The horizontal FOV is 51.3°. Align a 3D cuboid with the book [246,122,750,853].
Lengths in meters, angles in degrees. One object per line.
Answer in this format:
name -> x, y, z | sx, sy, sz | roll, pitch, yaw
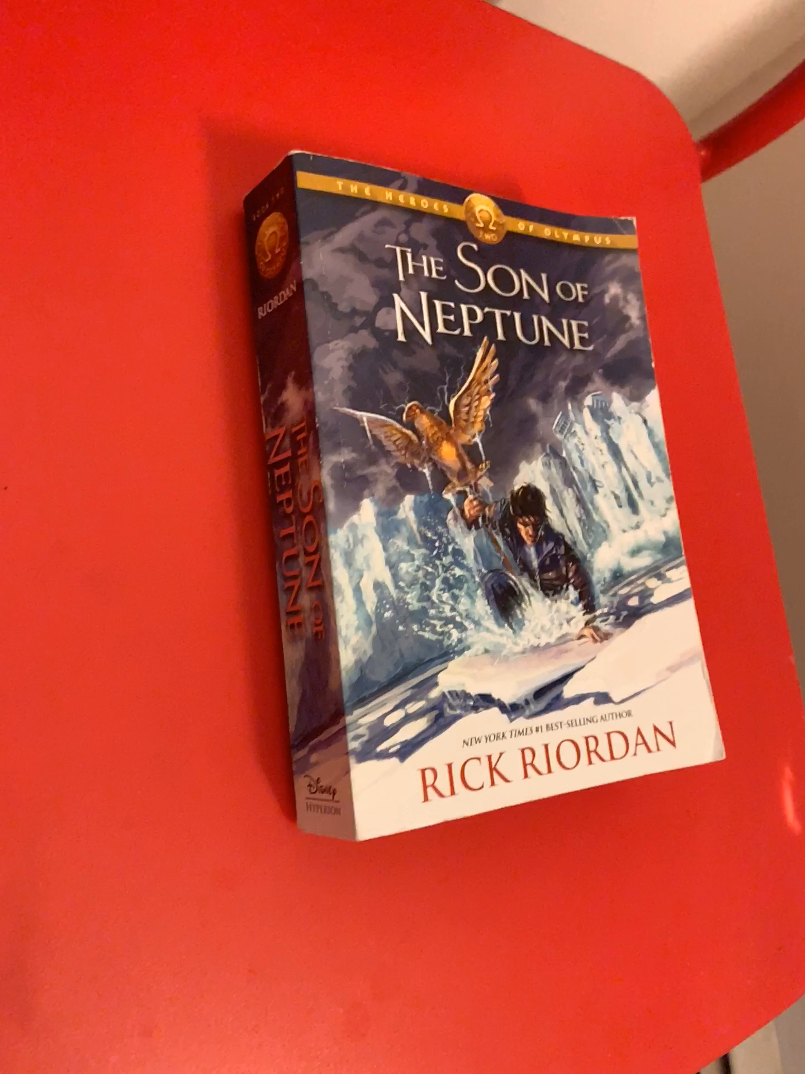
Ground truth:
book -> 0.032, -0.016, 0.264 | 0.142, 0.040, 0.188 | 0, 79, -33
